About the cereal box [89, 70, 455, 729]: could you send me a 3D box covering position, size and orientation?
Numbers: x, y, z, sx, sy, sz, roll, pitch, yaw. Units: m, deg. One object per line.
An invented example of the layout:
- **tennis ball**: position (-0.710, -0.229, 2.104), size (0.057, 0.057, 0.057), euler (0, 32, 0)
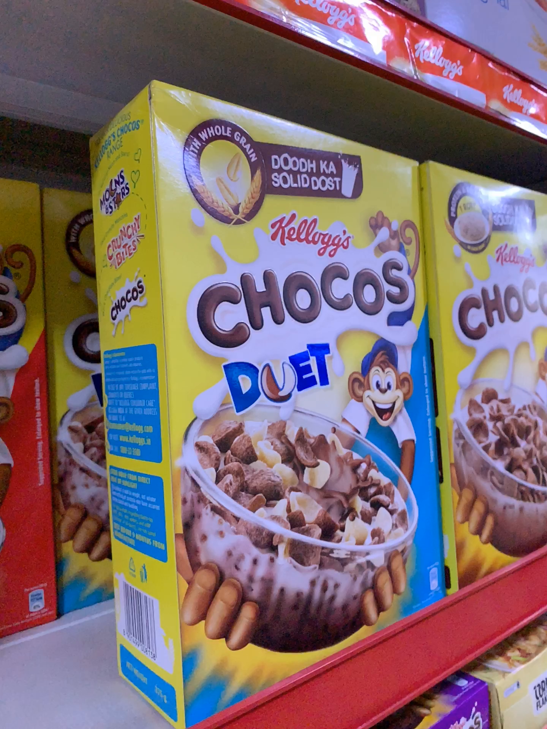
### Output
- **cereal box**: position (0.009, 0.014, 0.286), size (0.170, 0.250, 0.060), euler (-3, -1, -40)
